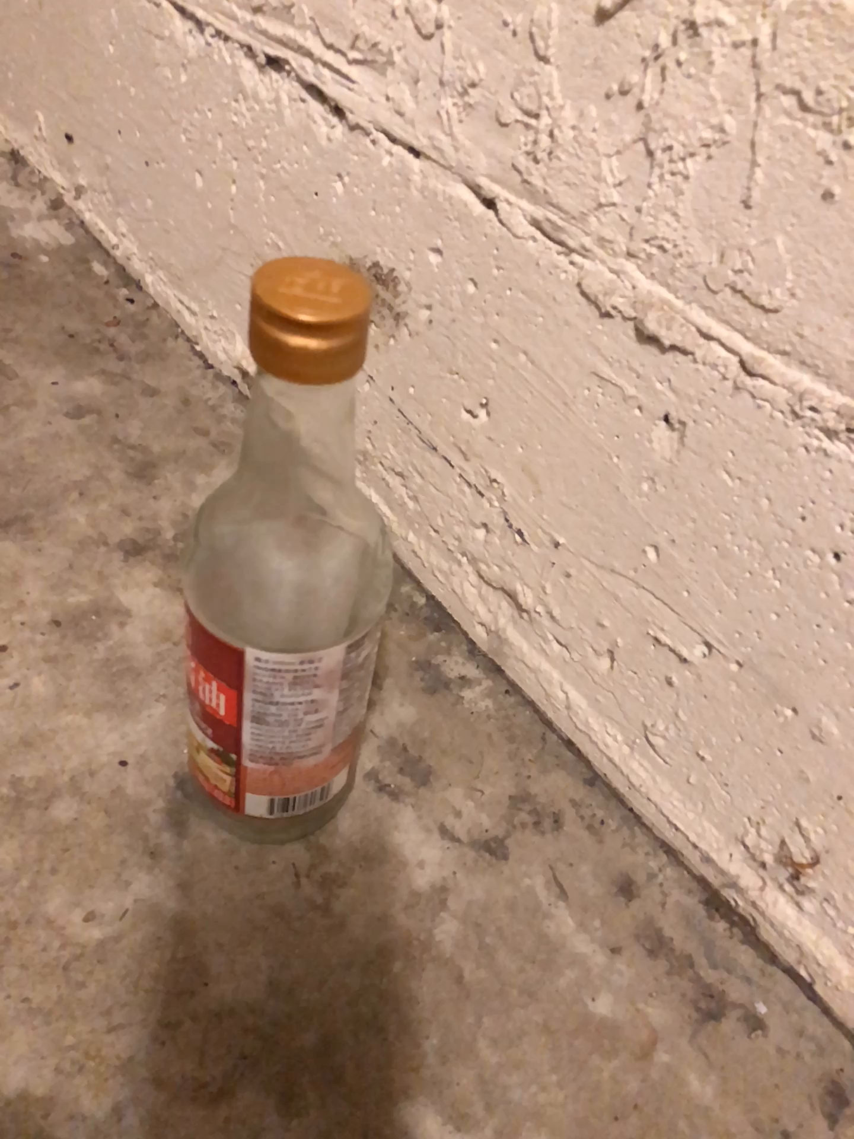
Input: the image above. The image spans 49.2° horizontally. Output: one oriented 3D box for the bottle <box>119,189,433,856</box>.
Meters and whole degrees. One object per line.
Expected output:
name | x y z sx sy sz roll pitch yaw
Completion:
bottle | -0.055 0.003 0.313 0.070 0.229 0.070 6 44 -6
